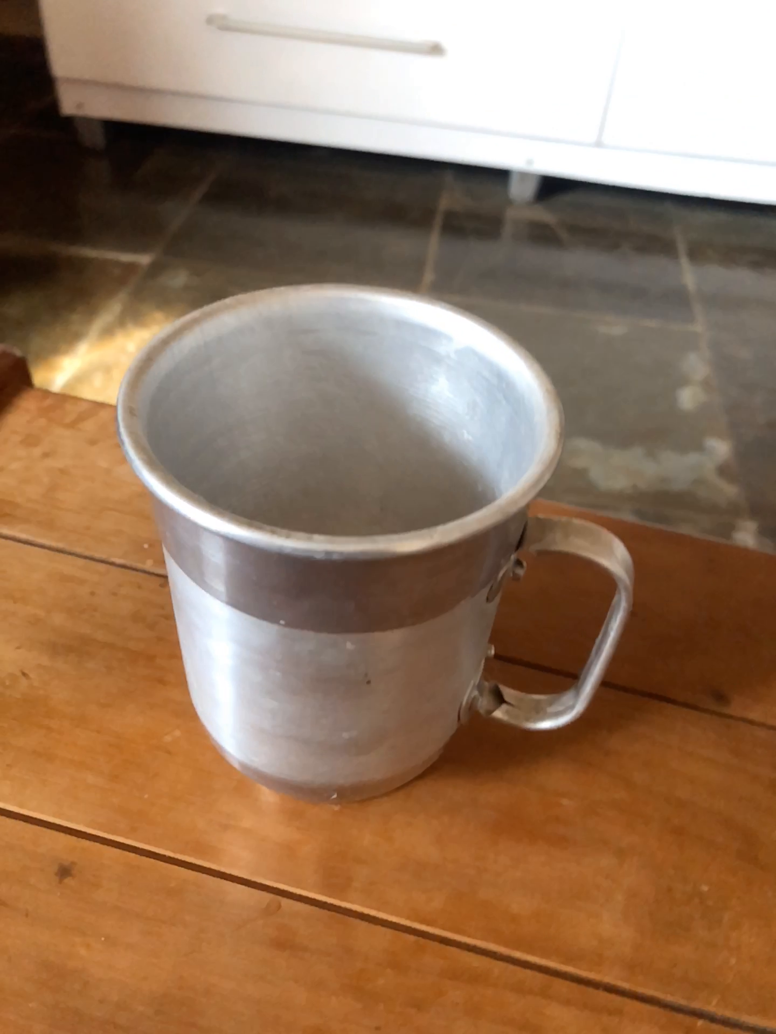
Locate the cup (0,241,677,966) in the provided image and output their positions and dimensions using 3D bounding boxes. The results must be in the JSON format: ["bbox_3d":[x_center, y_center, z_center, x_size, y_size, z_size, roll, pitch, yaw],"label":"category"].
[{"bbox_3d":[-0.007,0.022,0.224,0.120,0.129,0.101,14,44,9],"label":"cup"}]
